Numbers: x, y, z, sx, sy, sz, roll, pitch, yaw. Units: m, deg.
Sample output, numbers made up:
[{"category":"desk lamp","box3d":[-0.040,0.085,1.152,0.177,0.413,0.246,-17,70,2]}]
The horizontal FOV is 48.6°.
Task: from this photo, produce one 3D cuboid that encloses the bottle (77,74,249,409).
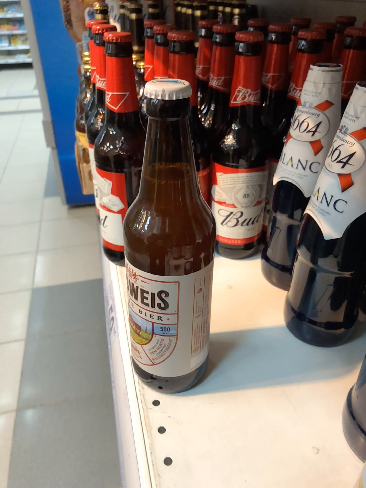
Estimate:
[{"category":"bottle","box3d":[-0.012,0.004,0.304,0.070,0.229,0.080,-23,38,-31]}]
